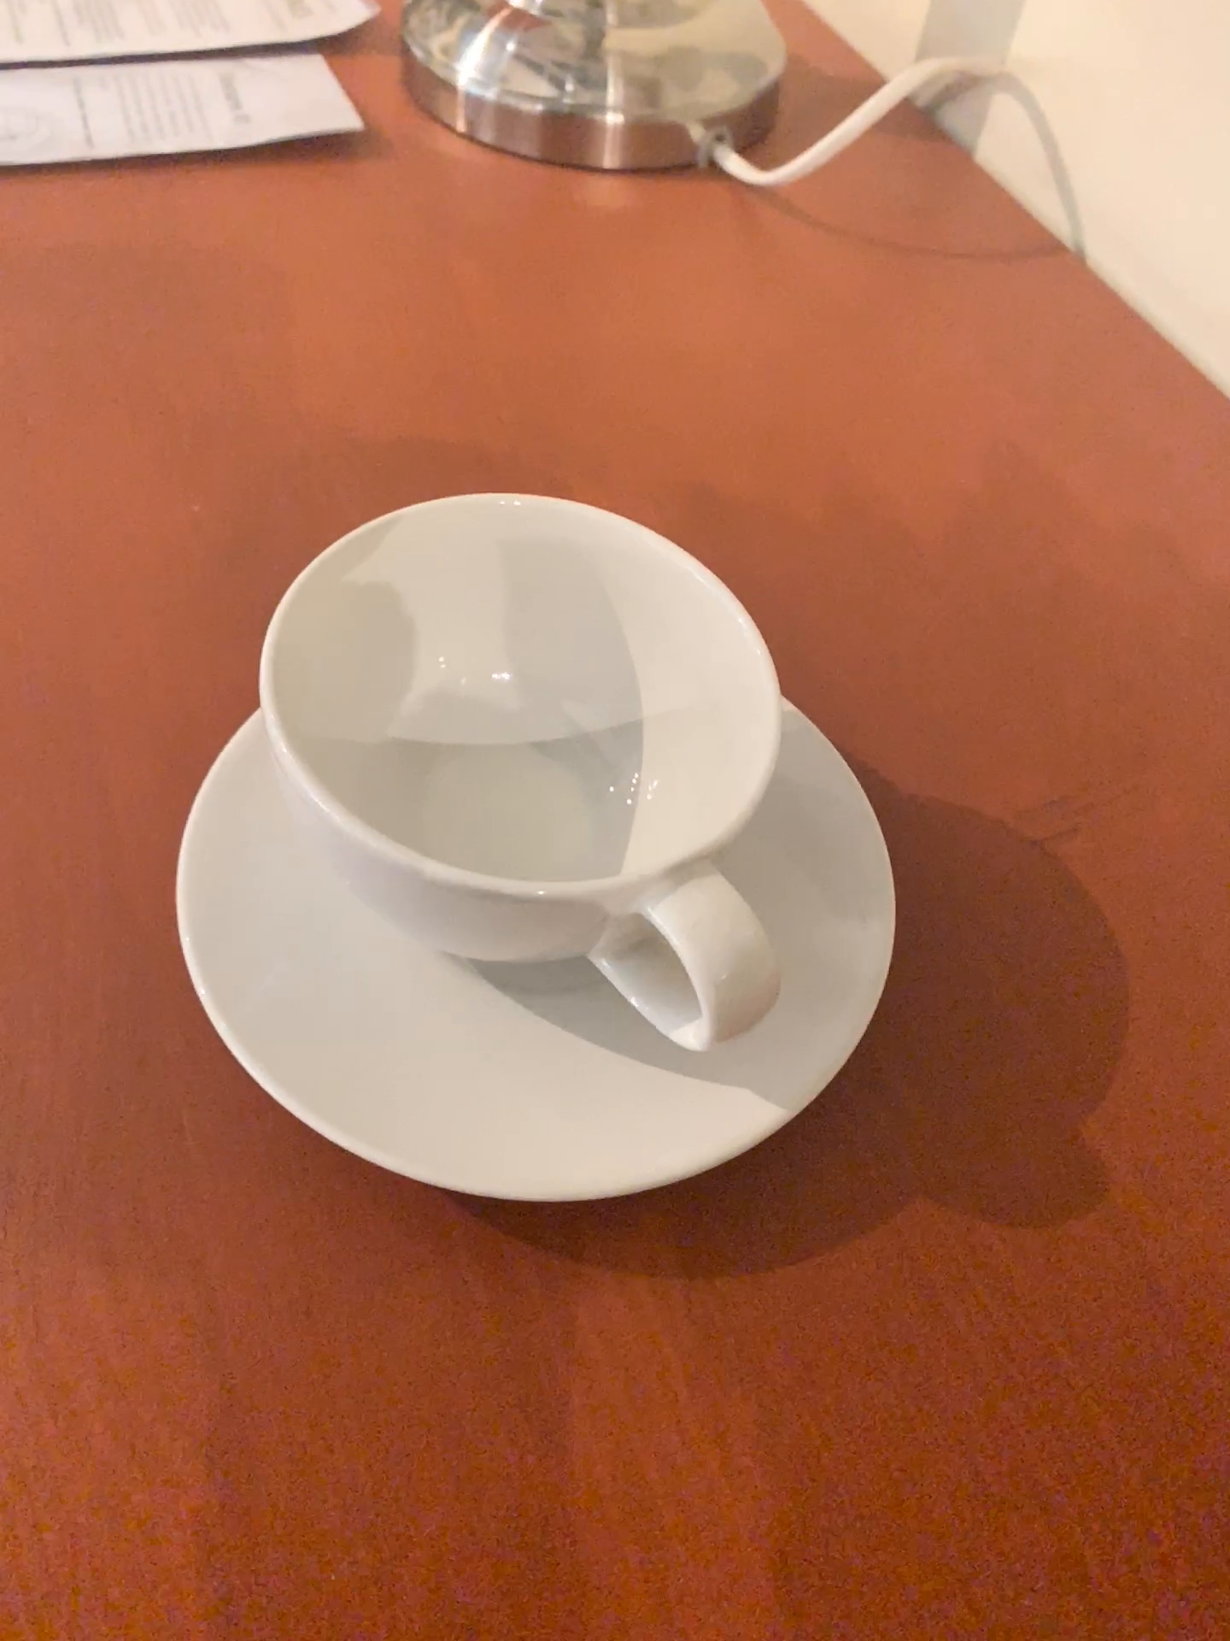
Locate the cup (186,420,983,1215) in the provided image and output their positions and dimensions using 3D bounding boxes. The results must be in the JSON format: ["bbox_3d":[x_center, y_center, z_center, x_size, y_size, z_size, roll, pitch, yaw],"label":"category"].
[{"bbox_3d":[-0.011,-0.008,0.221,0.080,0.050,0.110,-24,59,-24],"label":"cup"}]
